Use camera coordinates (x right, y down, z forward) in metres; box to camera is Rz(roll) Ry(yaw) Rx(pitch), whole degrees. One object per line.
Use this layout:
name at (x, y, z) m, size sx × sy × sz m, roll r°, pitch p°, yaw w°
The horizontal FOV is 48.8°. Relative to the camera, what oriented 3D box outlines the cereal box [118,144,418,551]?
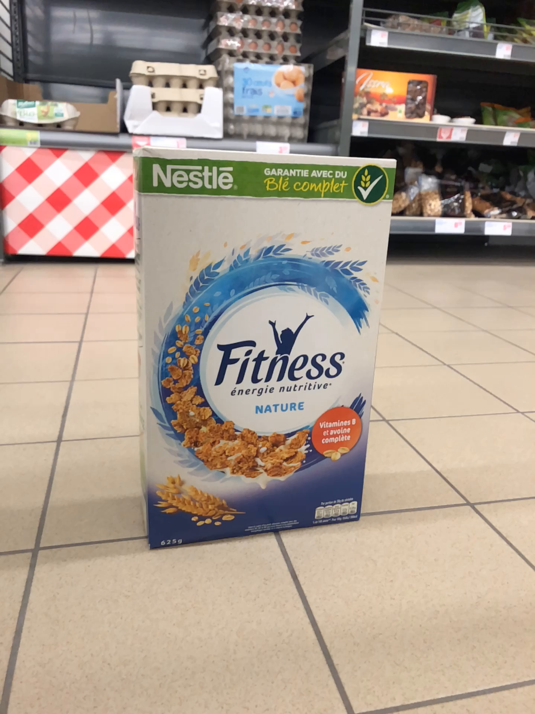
cereal box at (-0.009, -0.010, 0.488) m, size 0.210 × 0.299 × 0.090 m, roll -2°, pitch 17°, yaw -16°
